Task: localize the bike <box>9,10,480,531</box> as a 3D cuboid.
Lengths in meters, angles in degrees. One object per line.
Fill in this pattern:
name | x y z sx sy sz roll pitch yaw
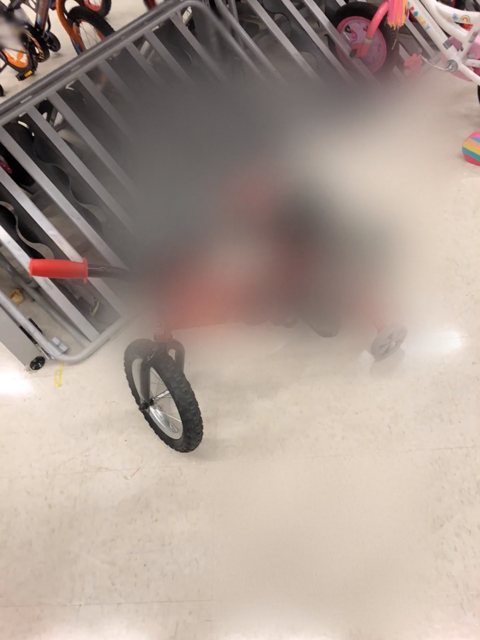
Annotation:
bike | 0.084 -0.102 1.136 0.699 0.678 0.534 -41 56 -18
